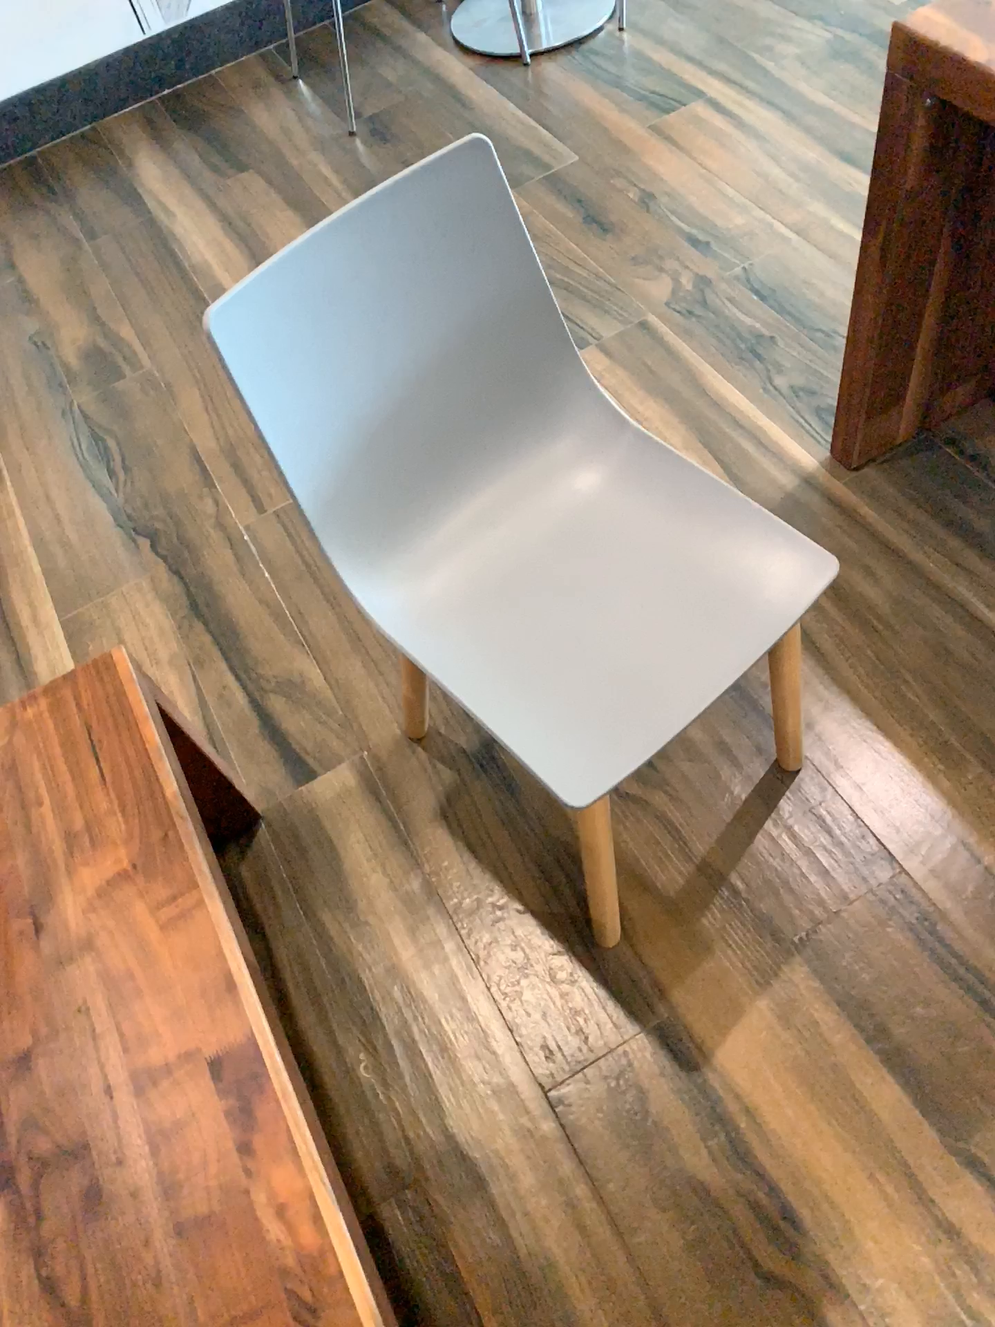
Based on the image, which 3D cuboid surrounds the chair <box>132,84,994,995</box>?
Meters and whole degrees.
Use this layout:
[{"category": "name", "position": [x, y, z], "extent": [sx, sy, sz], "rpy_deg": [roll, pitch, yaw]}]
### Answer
[{"category": "chair", "position": [0.083, -0.104, 1.144], "extent": [0.501, 0.696, 0.563], "rpy_deg": [-38, 58, -14]}]
